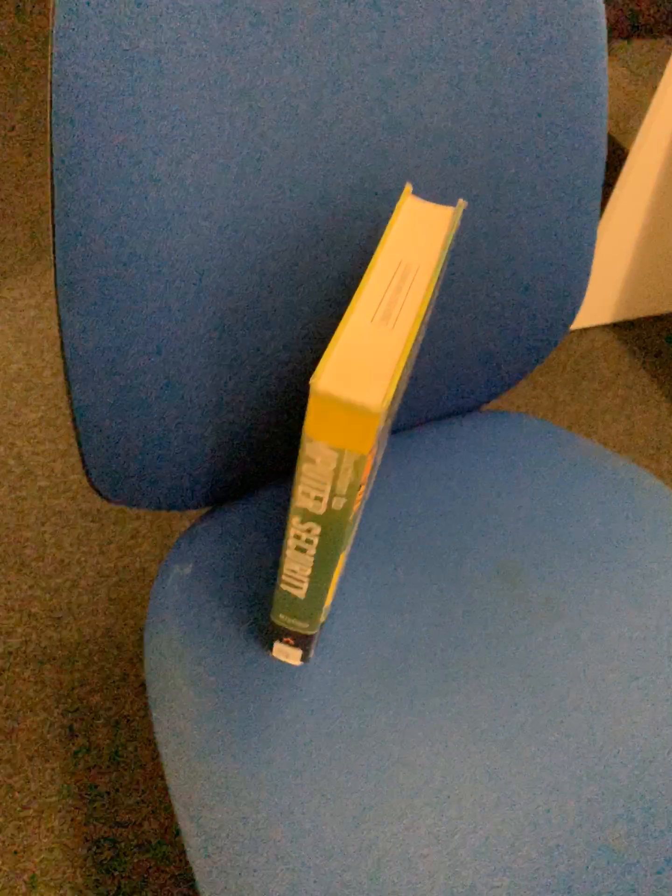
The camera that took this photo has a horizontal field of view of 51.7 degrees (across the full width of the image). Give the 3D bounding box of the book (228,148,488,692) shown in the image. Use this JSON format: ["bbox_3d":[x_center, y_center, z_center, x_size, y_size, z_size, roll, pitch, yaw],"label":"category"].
[{"bbox_3d":[0.005,-0.002,0.433,0.050,0.278,0.211,21,51,4],"label":"book"}]
